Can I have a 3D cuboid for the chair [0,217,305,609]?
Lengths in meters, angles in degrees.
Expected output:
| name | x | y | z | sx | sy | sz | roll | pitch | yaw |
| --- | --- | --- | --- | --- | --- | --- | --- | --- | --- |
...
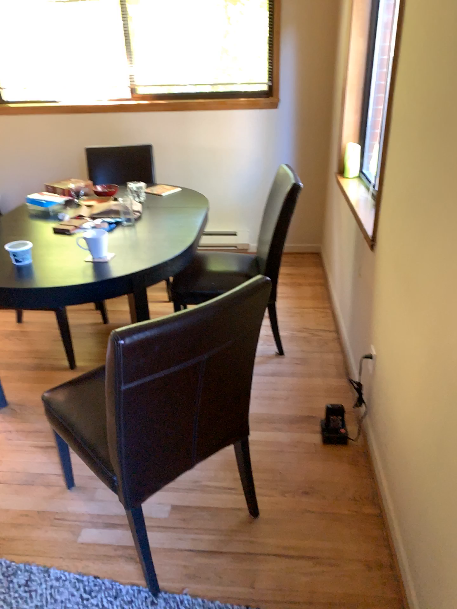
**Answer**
| name | x | y | z | sx | sy | sz | roll | pitch | yaw |
| --- | --- | --- | --- | --- | --- | --- | --- | --- | --- |
| chair | -0.227 | 0.379 | 1.513 | 0.621 | 1.084 | 0.653 | -23 | 34 | -35 |
